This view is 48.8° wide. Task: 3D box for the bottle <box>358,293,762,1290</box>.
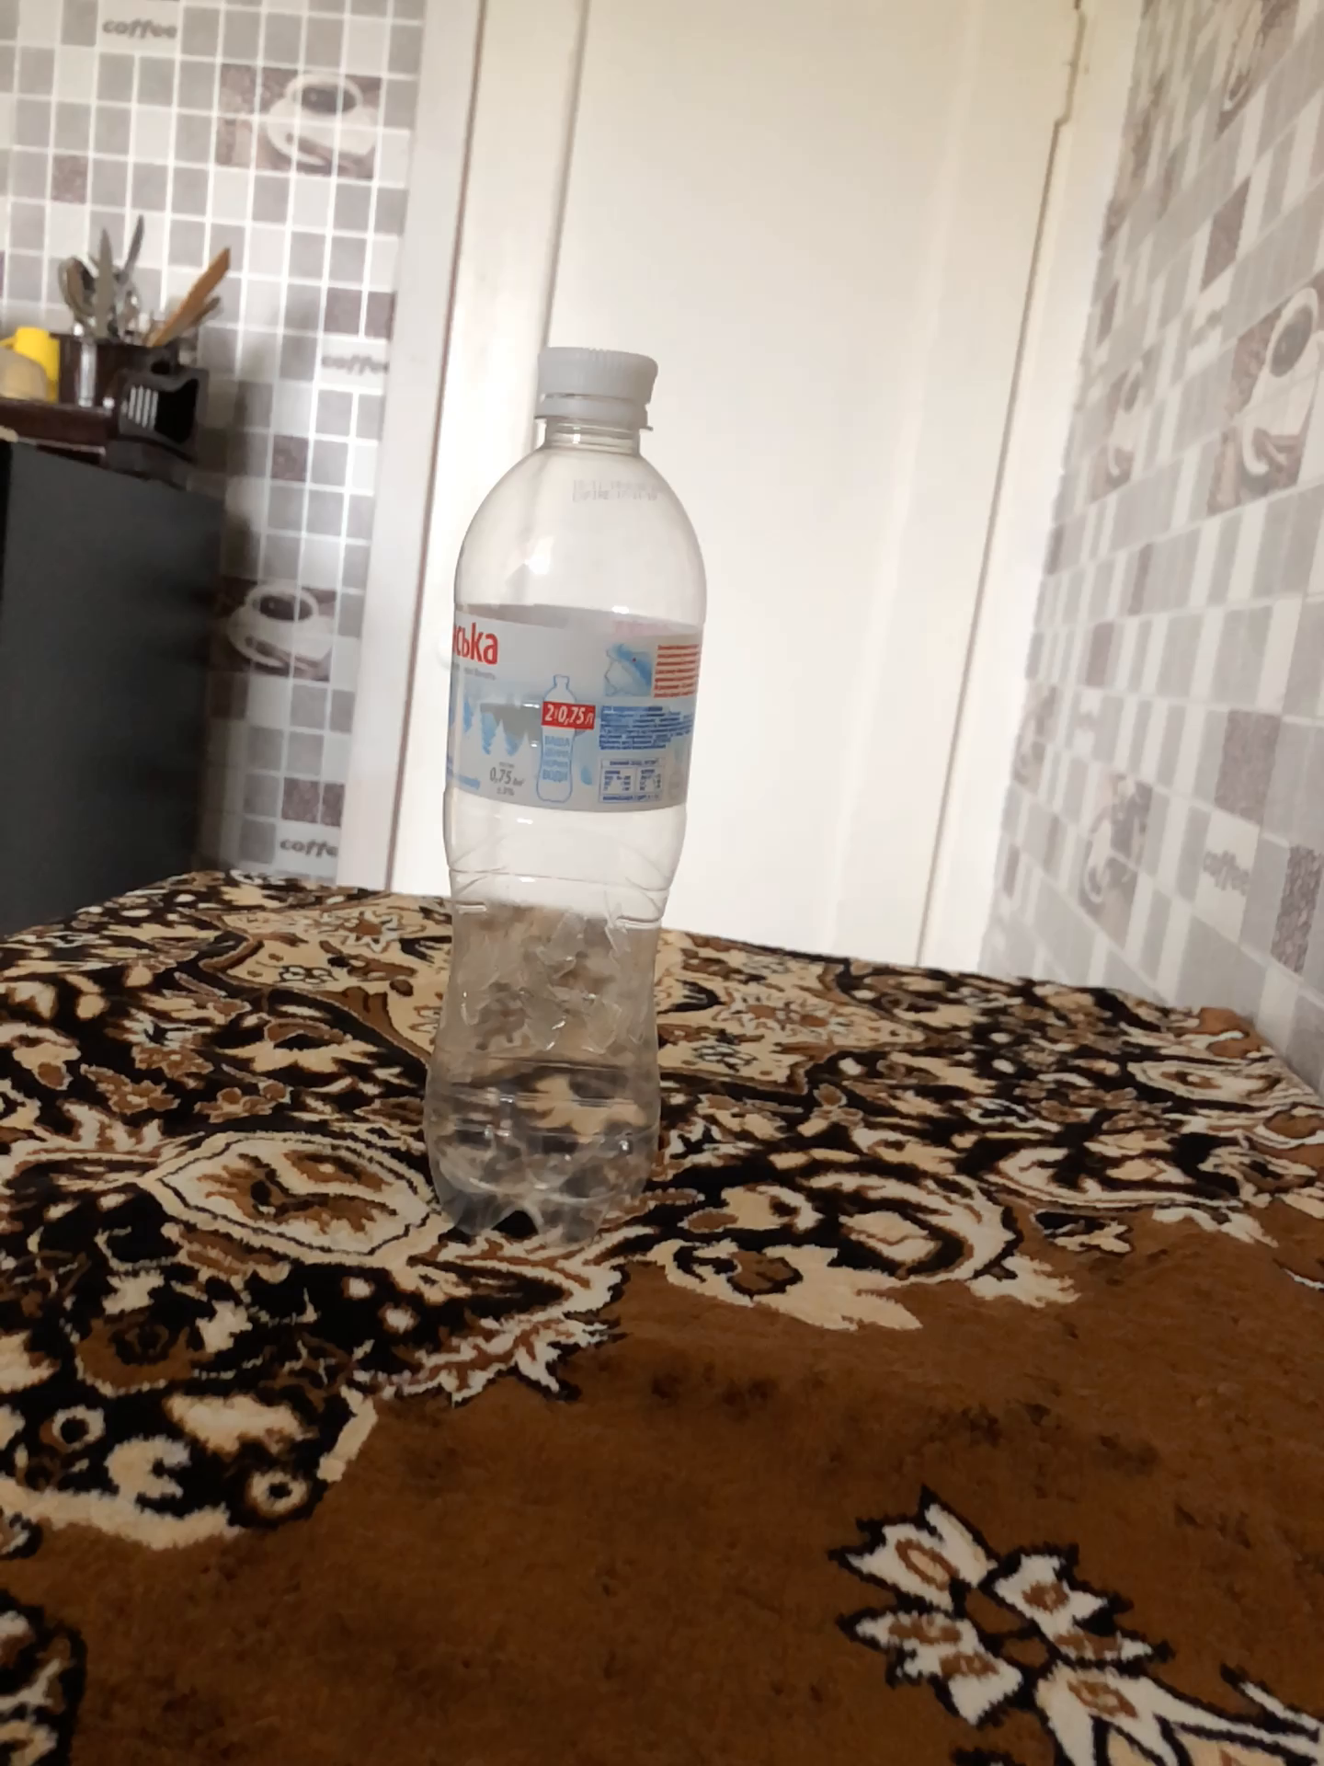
[{"bbox_3d":[-0.027,-0.025,0.418,0.080,0.249,0.090,7,11,4],"label":"bottle"}]
